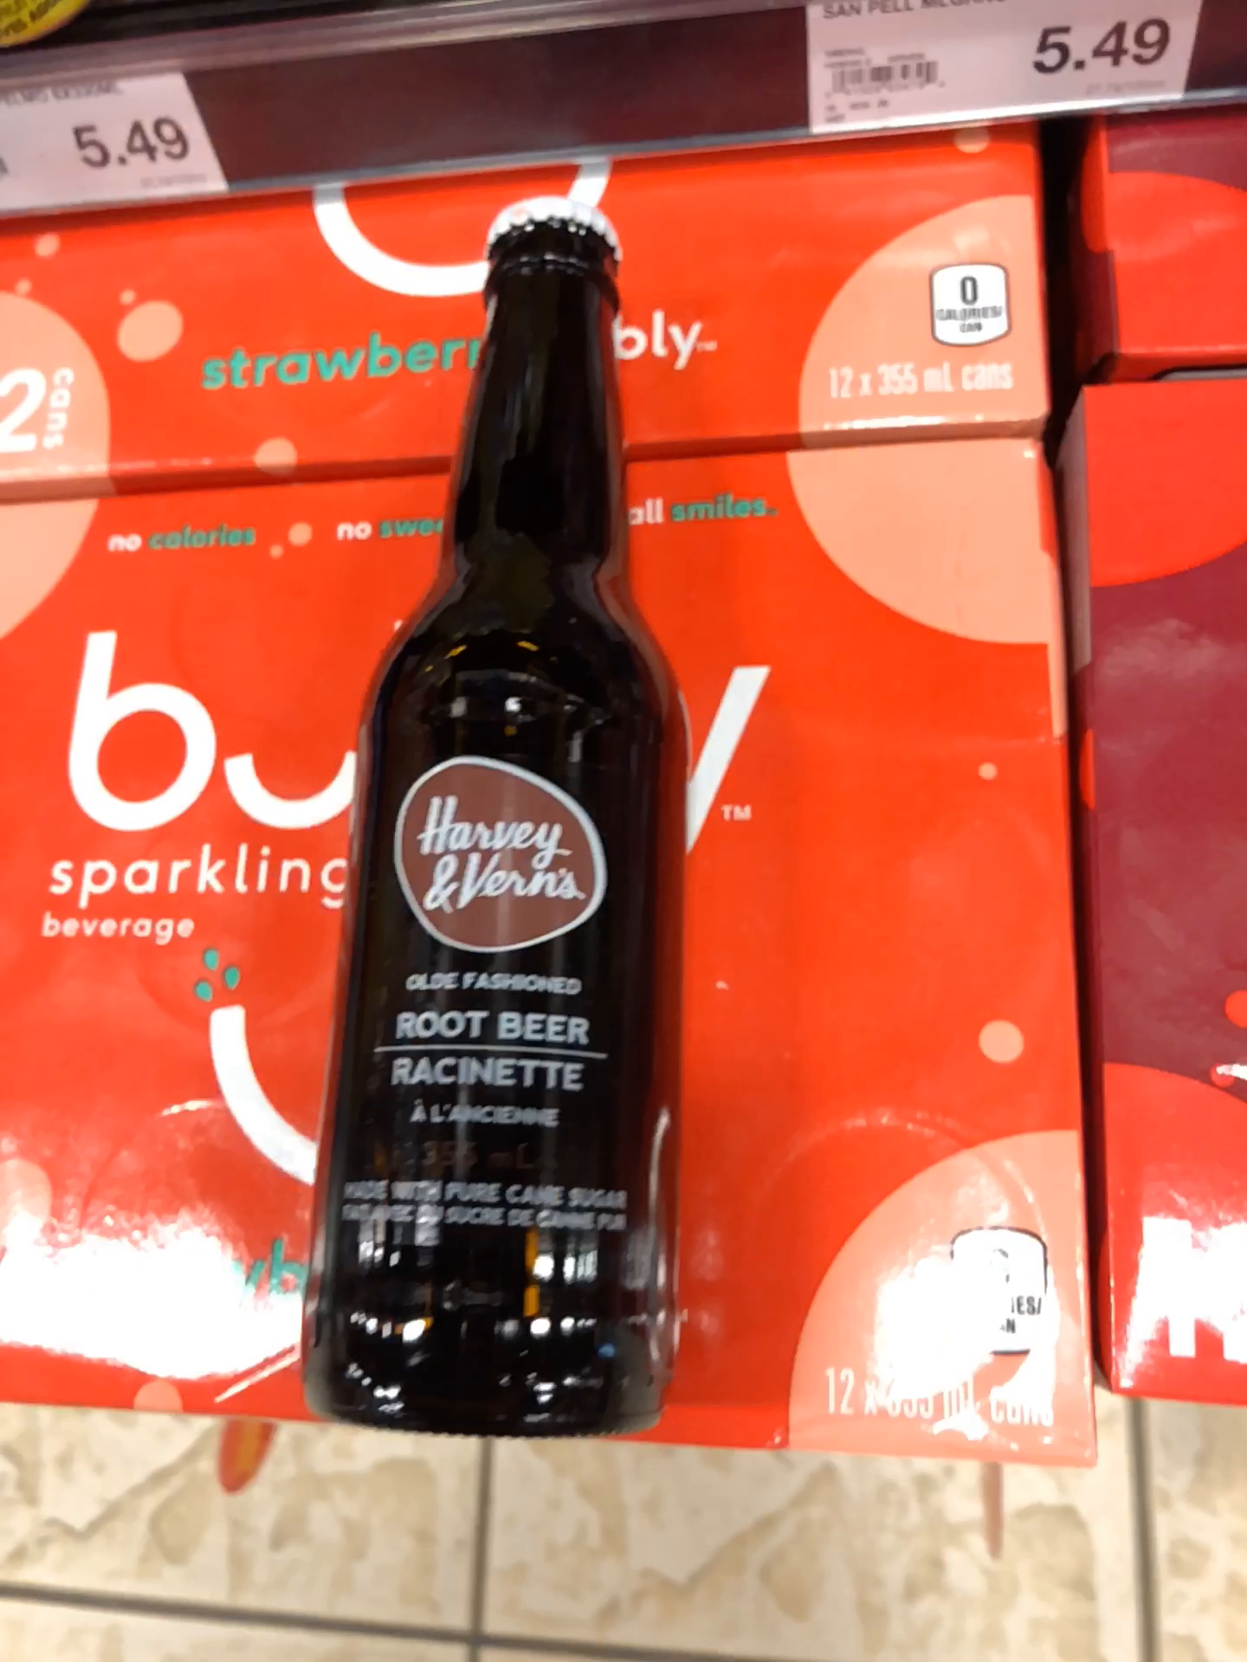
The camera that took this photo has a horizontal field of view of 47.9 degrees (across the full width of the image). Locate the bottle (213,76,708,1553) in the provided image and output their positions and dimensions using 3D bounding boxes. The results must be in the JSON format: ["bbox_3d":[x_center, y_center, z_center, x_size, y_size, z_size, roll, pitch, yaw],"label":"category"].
[{"bbox_3d":[-0.018,-0.009,0.248,0.060,0.070,0.230,-2,74,8],"label":"bottle"}]
